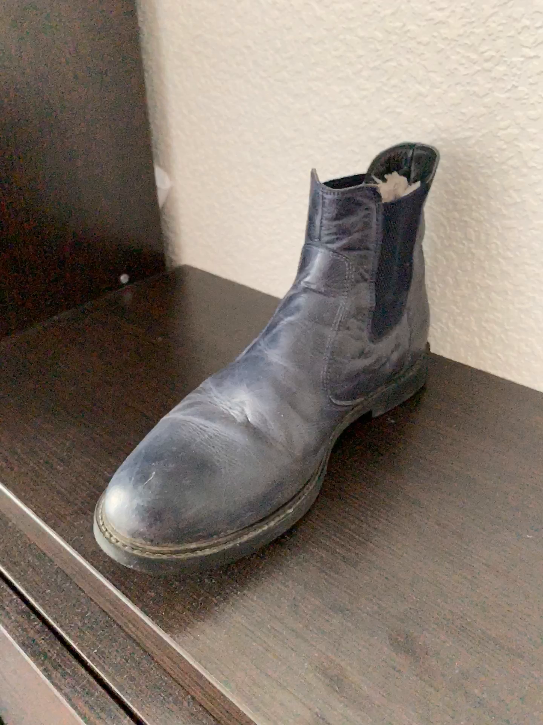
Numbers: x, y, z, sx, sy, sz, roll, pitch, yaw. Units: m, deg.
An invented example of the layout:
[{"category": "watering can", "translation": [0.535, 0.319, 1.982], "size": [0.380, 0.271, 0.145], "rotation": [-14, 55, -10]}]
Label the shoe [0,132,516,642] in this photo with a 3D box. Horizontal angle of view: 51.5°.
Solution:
[{"category": "shoe", "translation": [0.018, -0.022, 0.340], "size": [0.110, 0.159, 0.301], "rotation": [25, 41, 34]}]
